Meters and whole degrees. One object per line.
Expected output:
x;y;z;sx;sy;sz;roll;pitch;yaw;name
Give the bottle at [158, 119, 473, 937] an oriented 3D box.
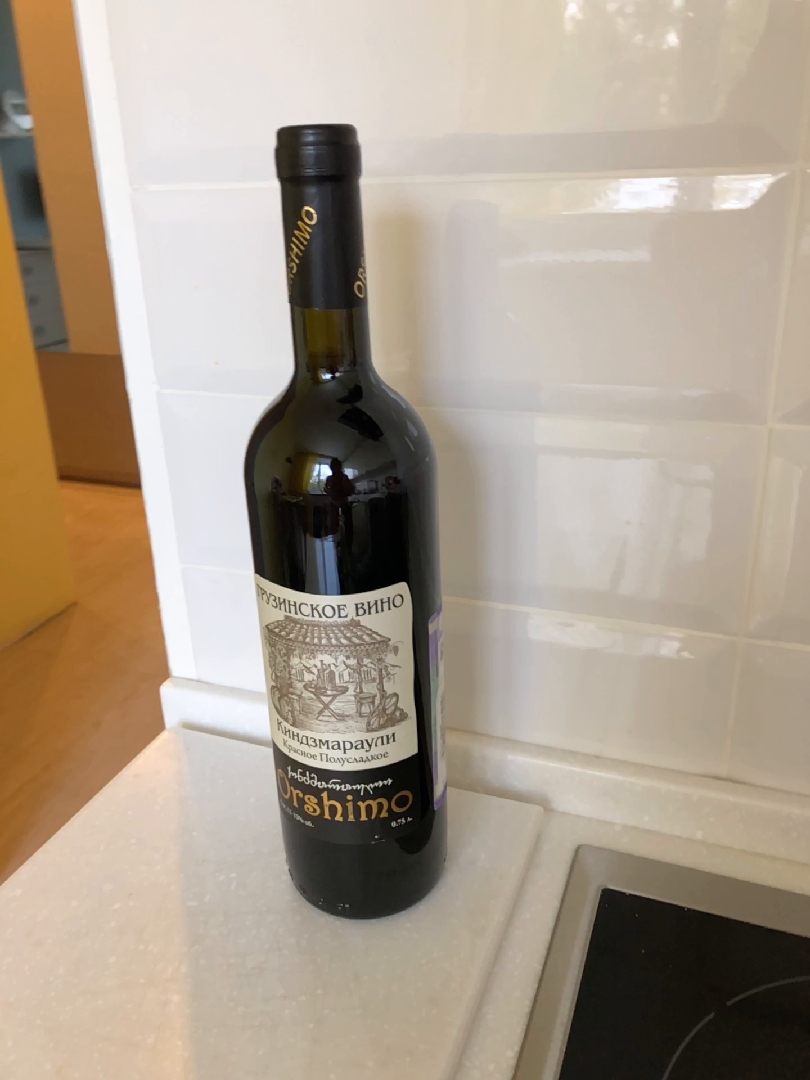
-0.020;0.003;0.349;0.080;0.298;0.080;-2;22;1;bottle
